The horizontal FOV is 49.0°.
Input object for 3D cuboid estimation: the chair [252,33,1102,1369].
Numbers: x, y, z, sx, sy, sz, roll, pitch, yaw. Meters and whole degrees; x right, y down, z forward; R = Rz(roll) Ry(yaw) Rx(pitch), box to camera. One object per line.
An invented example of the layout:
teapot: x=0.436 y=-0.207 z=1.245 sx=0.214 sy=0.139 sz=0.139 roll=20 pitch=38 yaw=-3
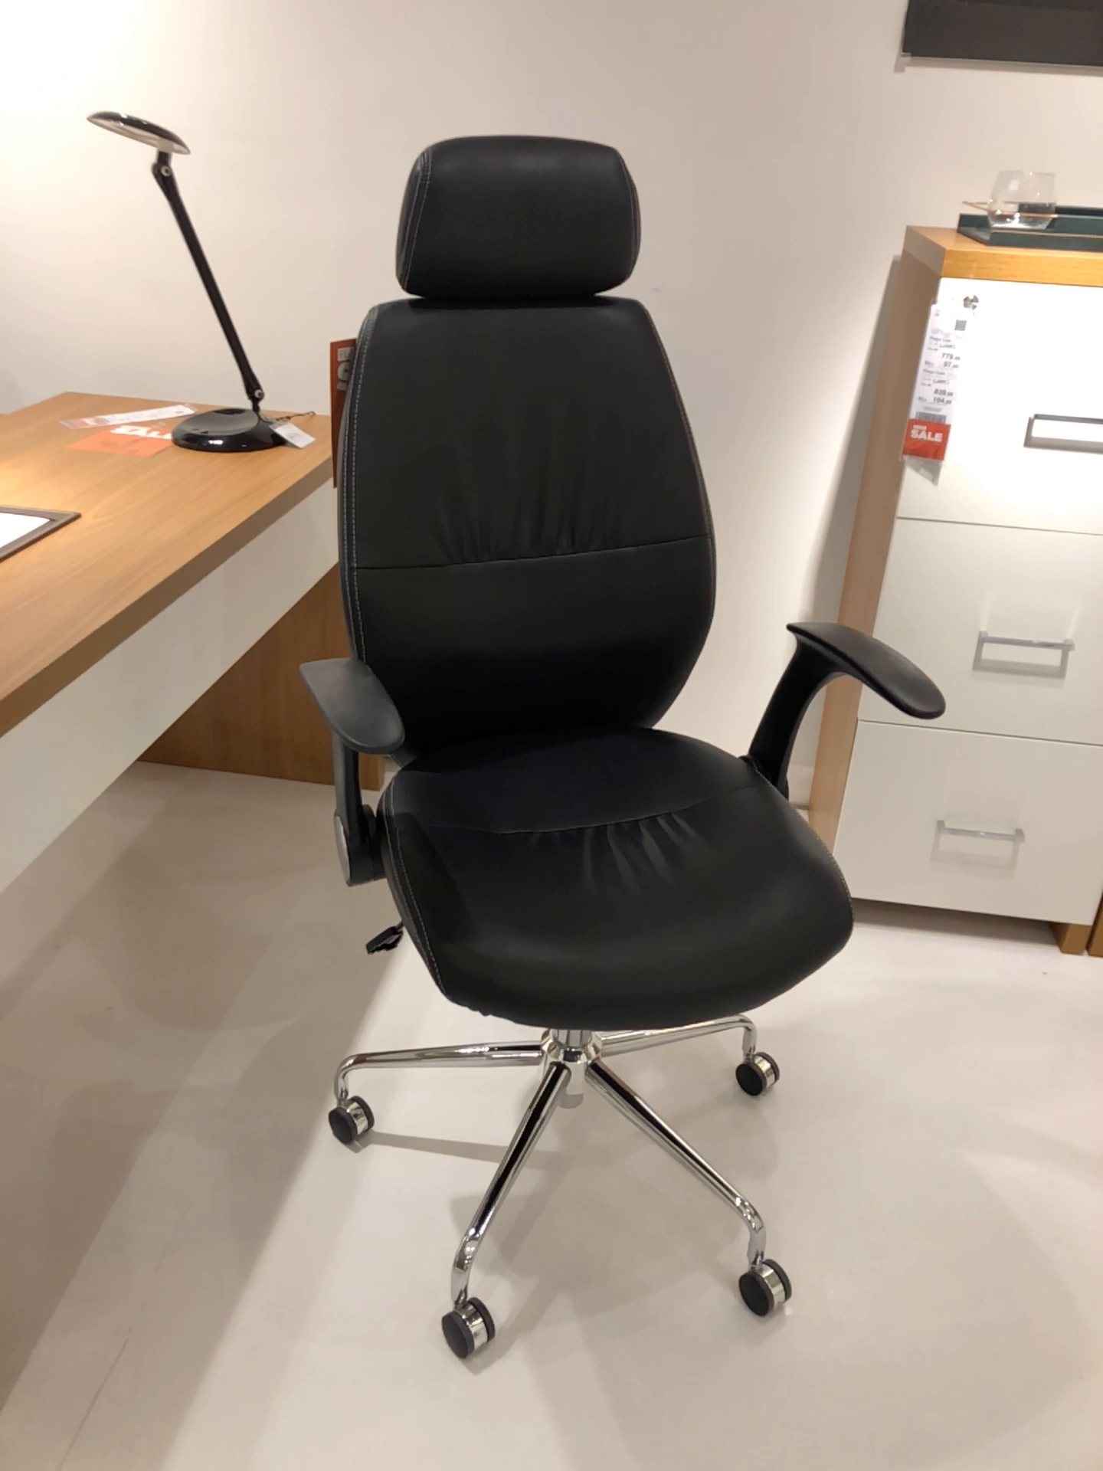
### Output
chair: x=0.047 y=-0.044 z=1.444 sx=0.691 sy=1.300 sz=0.715 roll=-4 pitch=32 yaw=-16
